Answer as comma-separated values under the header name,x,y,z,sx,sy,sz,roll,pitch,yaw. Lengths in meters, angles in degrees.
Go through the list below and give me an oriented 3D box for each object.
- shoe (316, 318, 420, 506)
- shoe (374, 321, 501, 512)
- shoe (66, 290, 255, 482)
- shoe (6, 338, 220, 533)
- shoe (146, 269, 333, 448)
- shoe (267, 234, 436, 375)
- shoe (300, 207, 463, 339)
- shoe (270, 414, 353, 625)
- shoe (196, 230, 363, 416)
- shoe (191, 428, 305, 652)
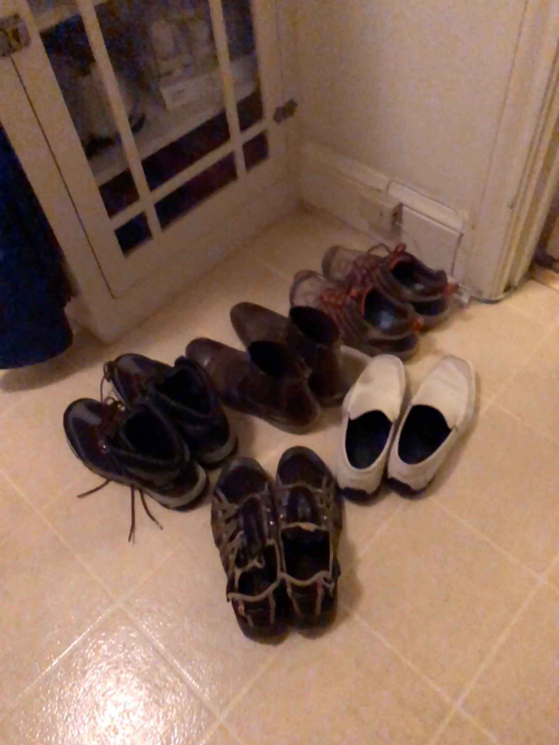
name,x,y,z,sx,sy,sz,roll,pitch,yaw
shoe,0.160,0.061,1.085,0.110,0.113,0.304,12,55,14
shoe,0.275,0.069,1.069,0.110,0.113,0.304,20,57,20
shoe,-0.210,0.021,1.106,0.324,0.192,0.110,33,62,27
shoe,-0.275,0.105,1.040,0.323,0.192,0.110,27,60,24
shoe,-0.068,-0.029,1.134,0.323,0.192,0.110,28,60,24
shoe,0.135,-0.140,1.215,0.314,0.113,0.110,32,62,26
shoe,0.201,-0.209,1.268,0.314,0.113,0.110,32,62,26
shoe,0.046,0.224,0.968,0.110,0.123,0.294,-3,52,3
shoe,0.000,-0.098,1.179,0.110,0.192,0.324,-38,58,-22
shoe,-0.053,0.251,0.953,0.110,0.123,0.294,-13,52,-4
